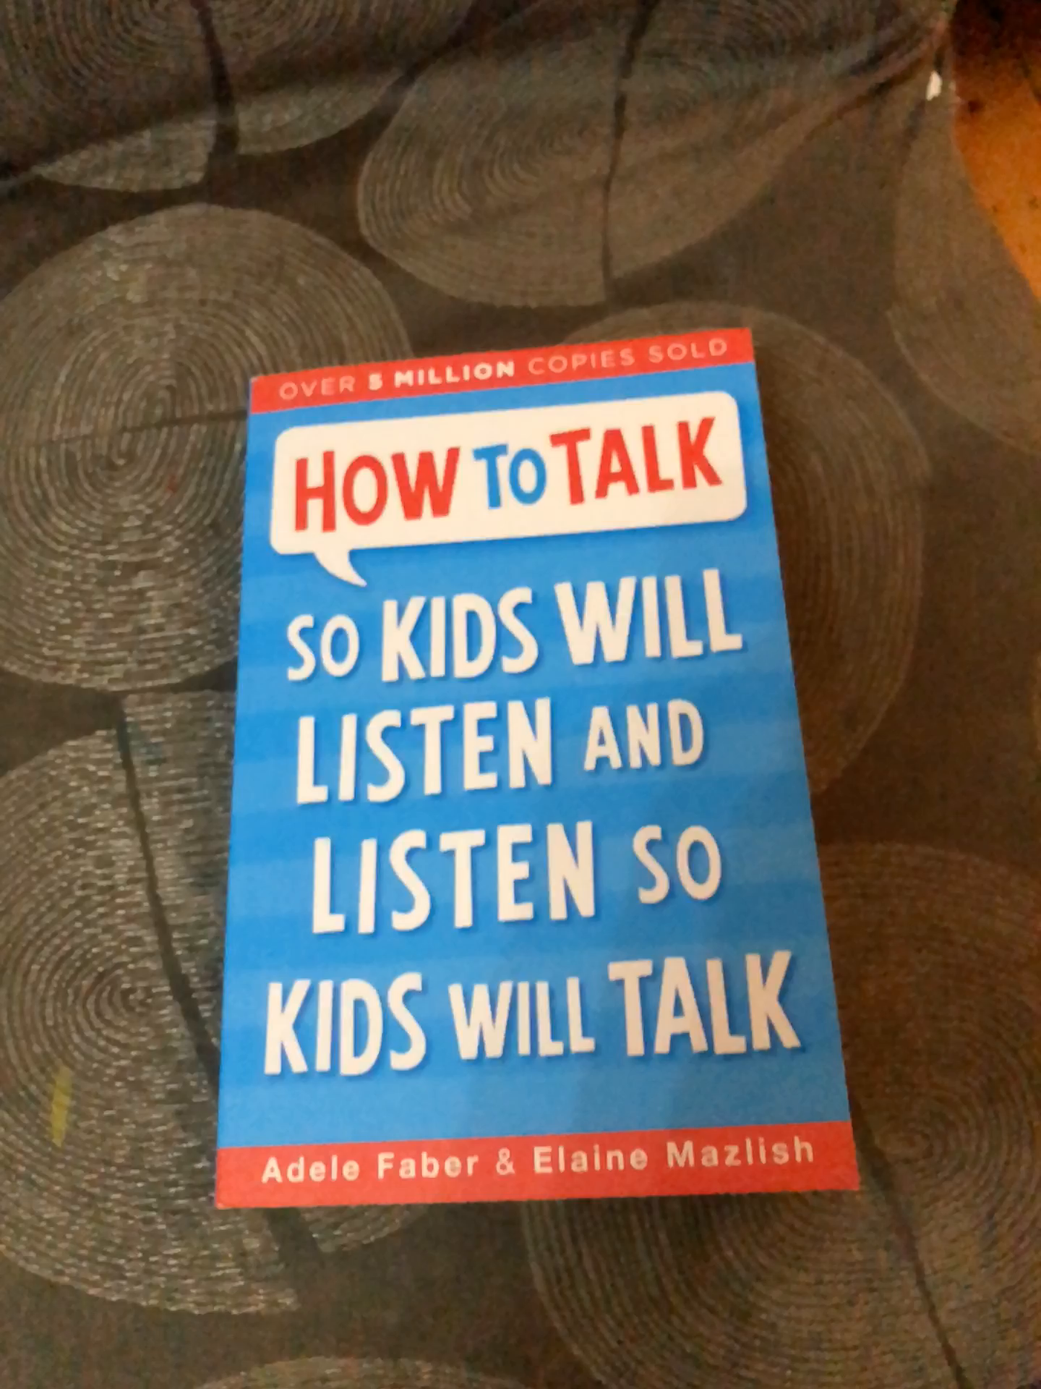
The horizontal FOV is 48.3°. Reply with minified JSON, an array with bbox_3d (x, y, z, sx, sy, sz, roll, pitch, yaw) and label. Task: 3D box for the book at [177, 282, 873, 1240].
[{"bbox_3d":[-0.004,0.009,0.275,0.140,0.030,0.210,-4,74,5],"label":"book"}]
